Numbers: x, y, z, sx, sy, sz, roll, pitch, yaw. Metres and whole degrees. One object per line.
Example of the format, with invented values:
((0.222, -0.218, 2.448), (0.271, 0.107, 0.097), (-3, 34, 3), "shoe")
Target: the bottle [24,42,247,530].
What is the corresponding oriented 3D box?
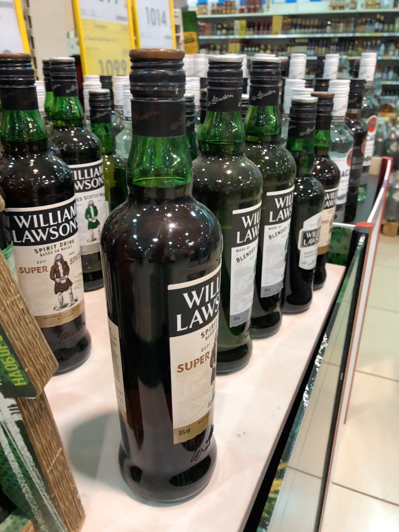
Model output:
((-0.029, 0.023, 0.289), (0.090, 0.298, 0.081), (7, 24, 15), "bottle")
